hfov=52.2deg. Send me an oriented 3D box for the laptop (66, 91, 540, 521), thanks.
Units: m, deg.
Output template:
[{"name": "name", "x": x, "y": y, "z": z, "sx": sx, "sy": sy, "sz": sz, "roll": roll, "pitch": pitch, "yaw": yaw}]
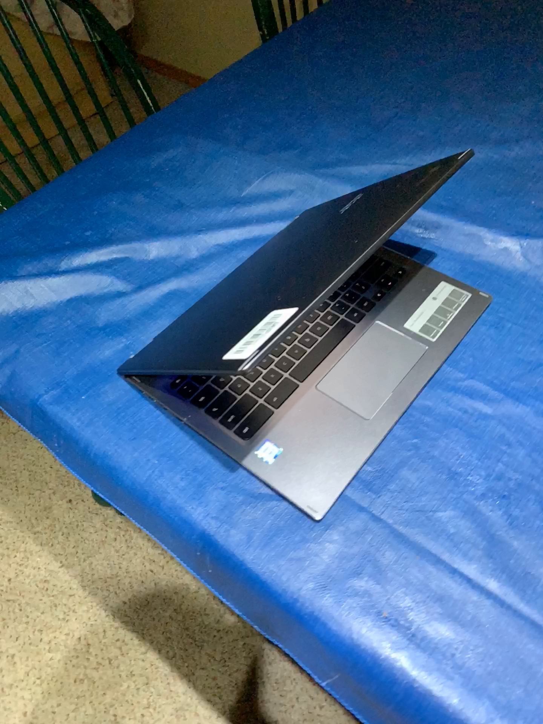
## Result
[{"name": "laptop", "x": 0.035, "y": -0.076, "z": 0.505, "sx": 0.250, "sy": 0.151, "sz": 0.304, "roll": 32, "pitch": 61, "yaw": 26}]
